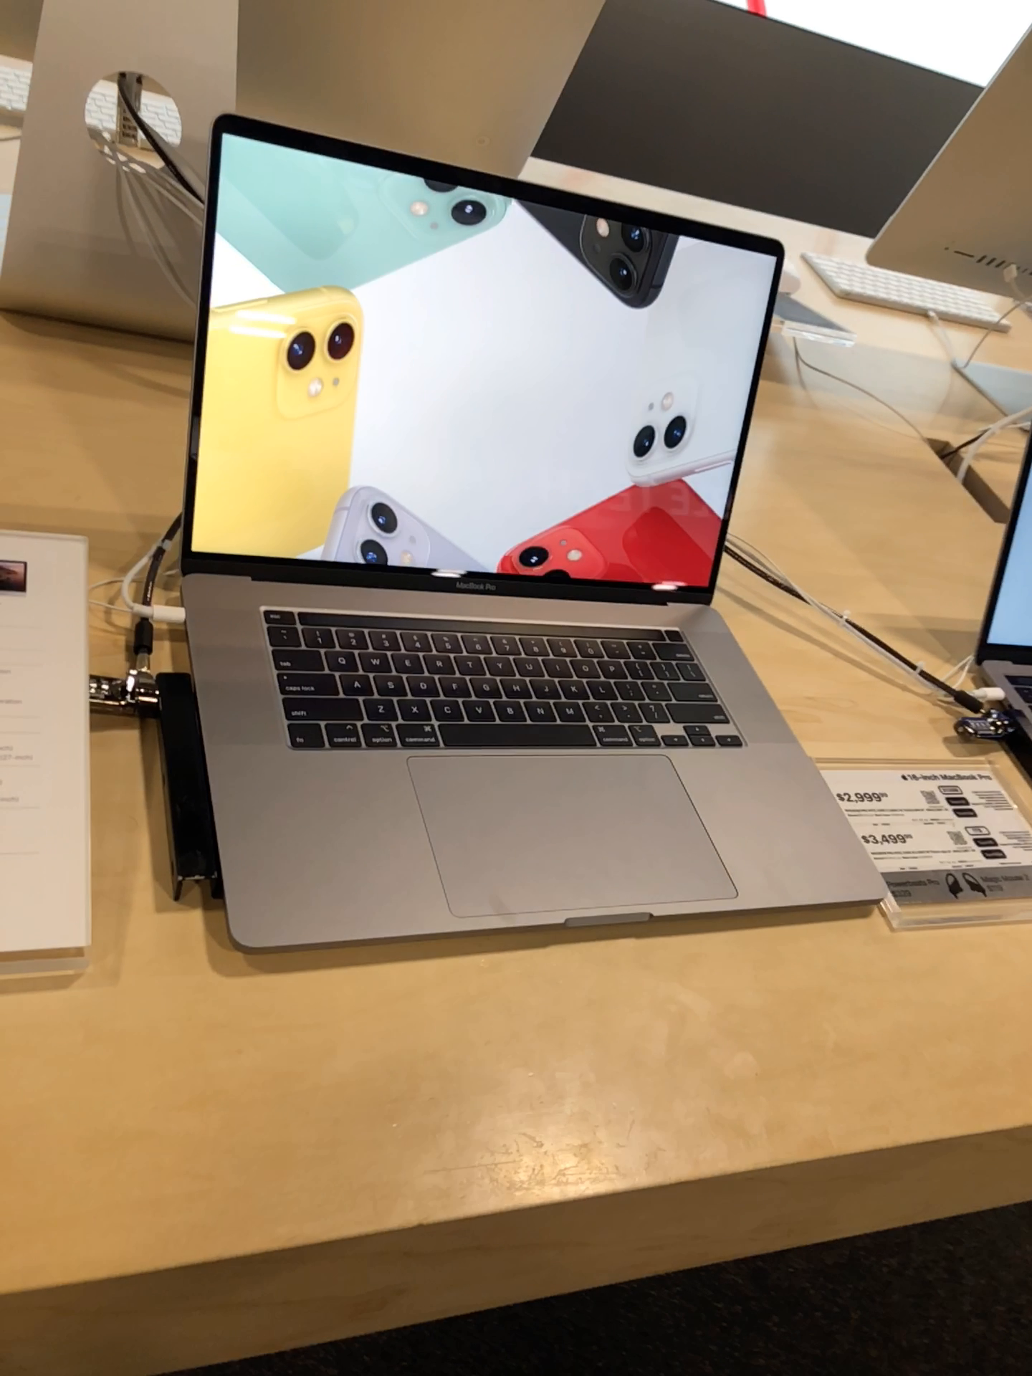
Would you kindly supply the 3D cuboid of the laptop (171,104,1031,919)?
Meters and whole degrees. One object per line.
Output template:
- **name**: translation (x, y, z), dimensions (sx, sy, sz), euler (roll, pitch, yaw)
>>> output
- **laptop**: translation (0.022, -0.088, 0.590), dimensions (0.336, 0.204, 0.350), euler (2, 45, -23)
